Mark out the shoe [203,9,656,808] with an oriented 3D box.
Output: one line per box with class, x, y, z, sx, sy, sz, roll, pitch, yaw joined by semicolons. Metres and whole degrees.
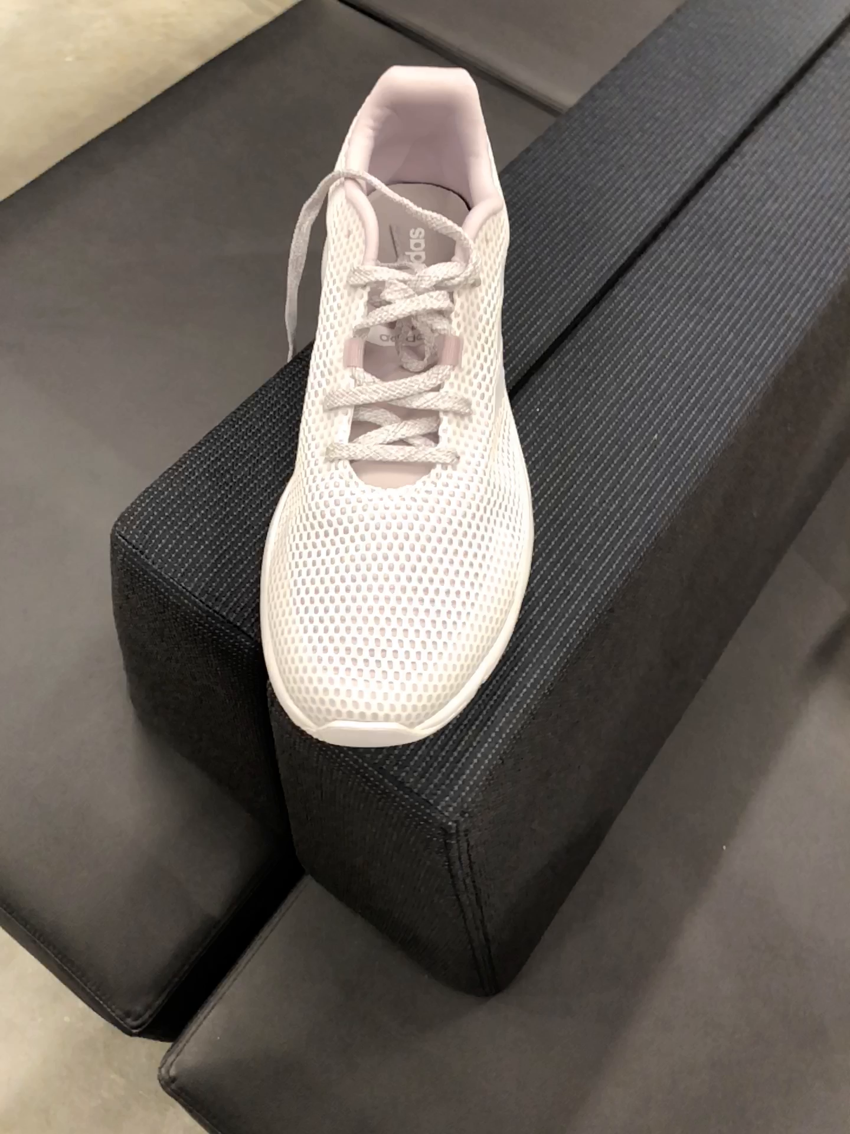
shoe;0.001;-0.064;0.377;0.120;0.140;0.280;4;62;-3
